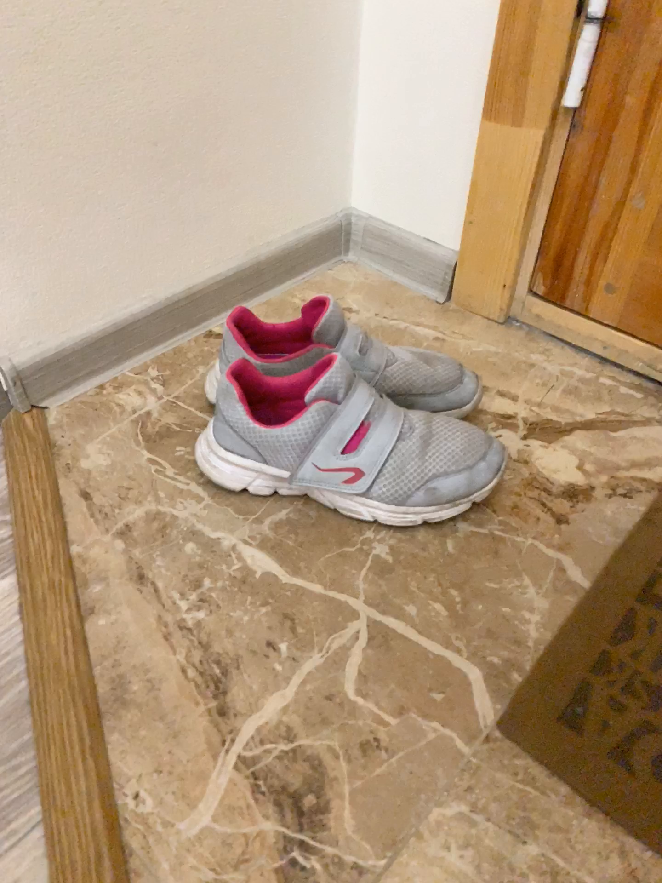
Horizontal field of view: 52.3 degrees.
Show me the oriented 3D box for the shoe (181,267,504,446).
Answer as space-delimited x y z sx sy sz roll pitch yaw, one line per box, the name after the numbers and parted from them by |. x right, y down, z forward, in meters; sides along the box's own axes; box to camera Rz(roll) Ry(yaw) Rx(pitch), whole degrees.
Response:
0.010 -0.076 0.591 0.250 0.099 0.101 4 42 1 | shoe

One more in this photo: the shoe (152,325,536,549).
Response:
0.011 -0.006 0.522 0.260 0.099 0.101 7 42 5 | shoe
